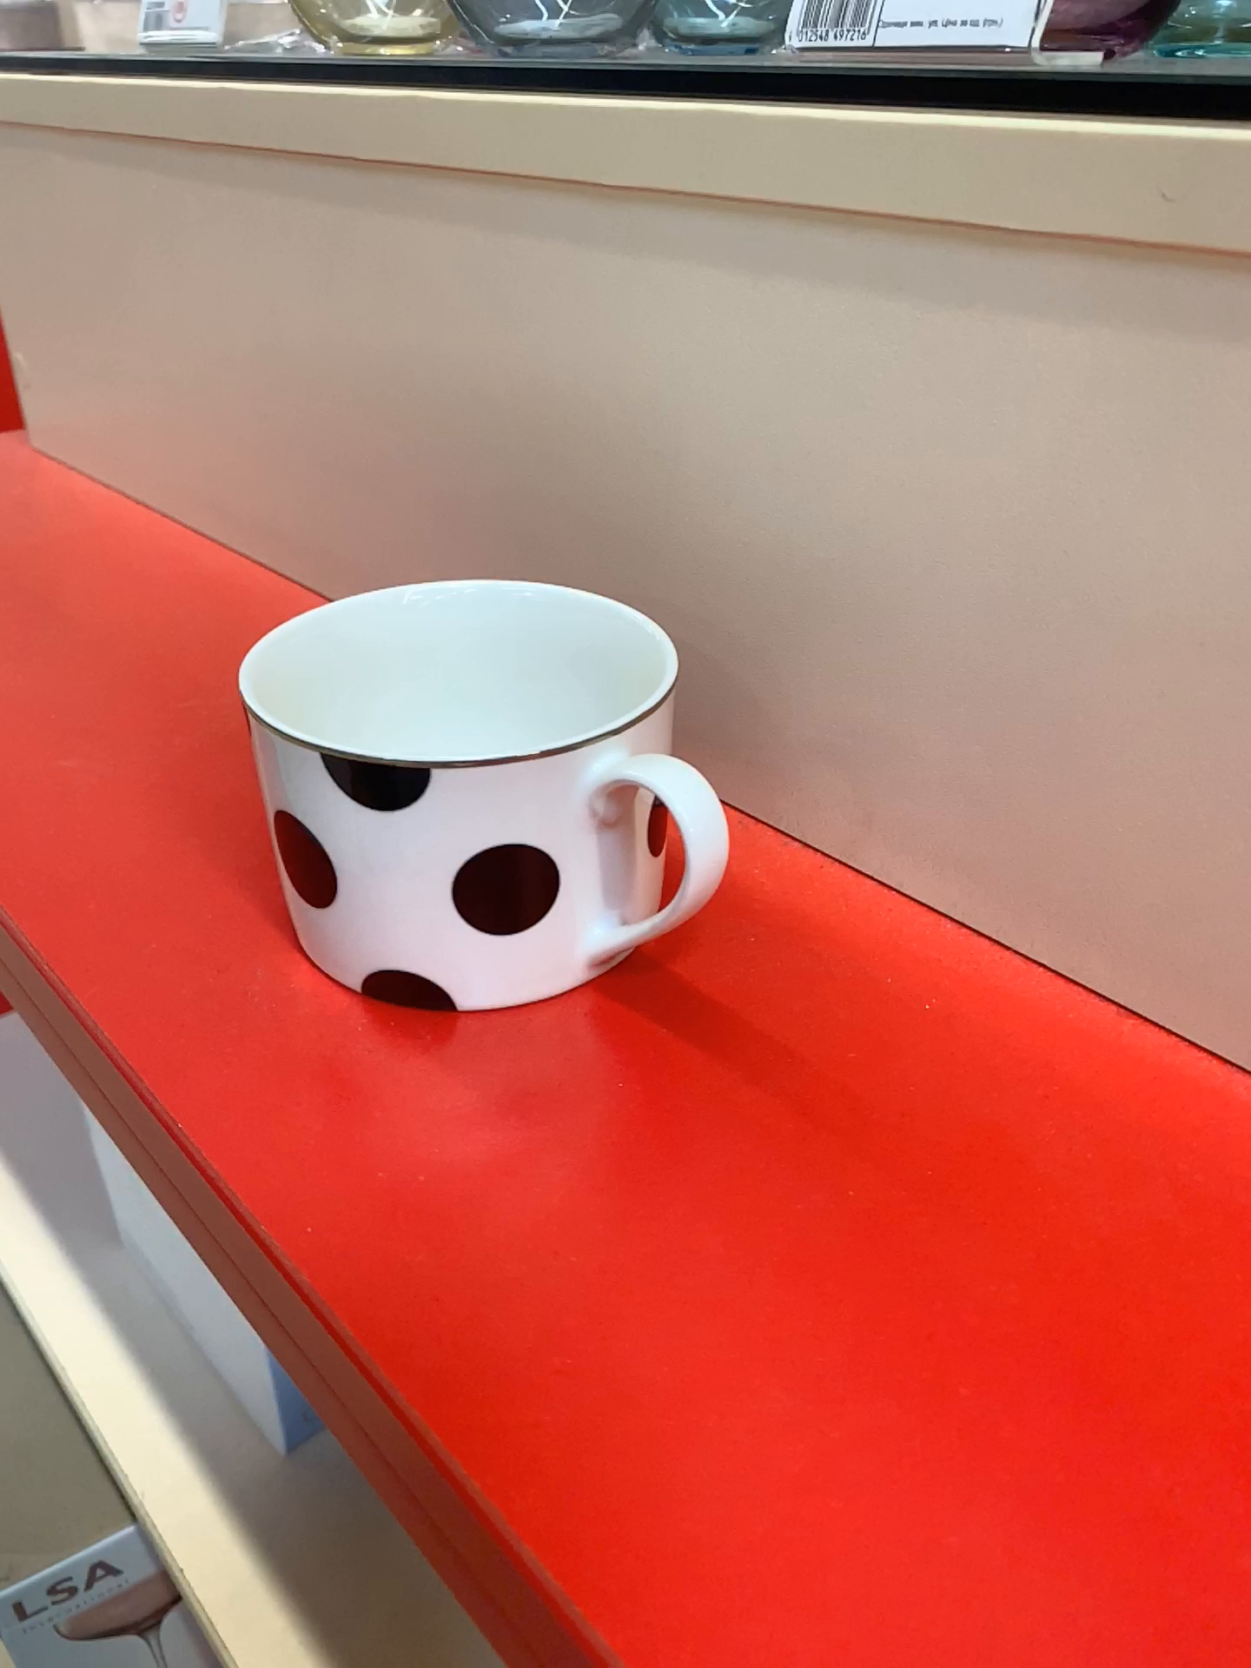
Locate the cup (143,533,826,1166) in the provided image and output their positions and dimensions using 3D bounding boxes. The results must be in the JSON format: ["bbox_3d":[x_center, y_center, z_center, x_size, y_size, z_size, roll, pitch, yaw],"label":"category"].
[{"bbox_3d":[-0.027,-0.006,0.258,0.100,0.070,0.080,26,39,36],"label":"cup"}]
